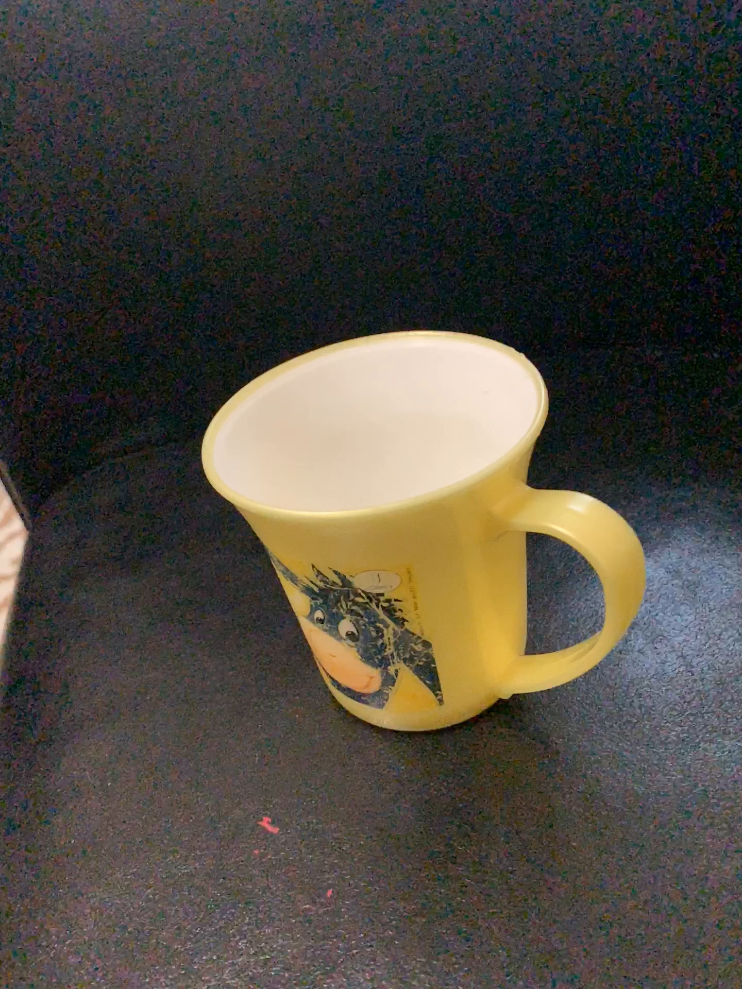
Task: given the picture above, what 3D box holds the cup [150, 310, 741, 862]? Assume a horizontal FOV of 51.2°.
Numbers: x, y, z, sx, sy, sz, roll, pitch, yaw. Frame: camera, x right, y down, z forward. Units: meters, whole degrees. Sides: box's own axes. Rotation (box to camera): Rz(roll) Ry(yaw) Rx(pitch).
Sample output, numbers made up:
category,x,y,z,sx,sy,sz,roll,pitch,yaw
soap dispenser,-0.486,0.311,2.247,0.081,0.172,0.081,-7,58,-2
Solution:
category,x,y,z,sx,sy,sz,roll,pitch,yaw
cup,0.026,0.011,0.209,0.120,0.080,0.090,15,42,34
